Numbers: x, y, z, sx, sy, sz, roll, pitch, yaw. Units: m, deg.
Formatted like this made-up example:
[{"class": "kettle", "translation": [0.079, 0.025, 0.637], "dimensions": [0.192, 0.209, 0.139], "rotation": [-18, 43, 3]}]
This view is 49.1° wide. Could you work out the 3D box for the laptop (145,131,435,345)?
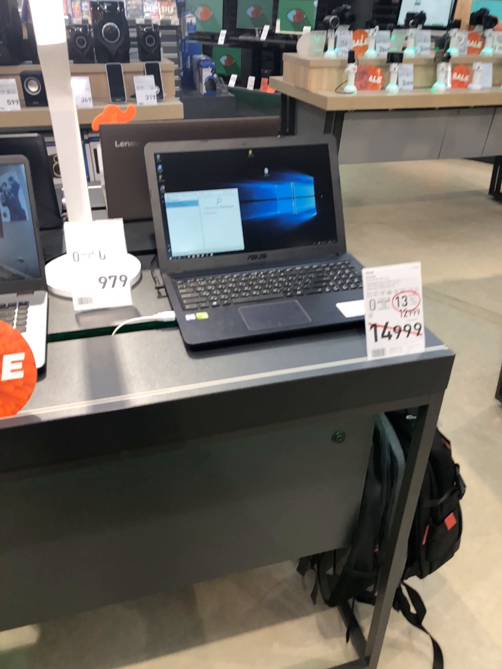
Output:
[{"class": "laptop", "translation": [0.036, -0.198, 0.976], "dimensions": [0.380, 0.209, 0.371], "rotation": [-8, 34, -14]}]
